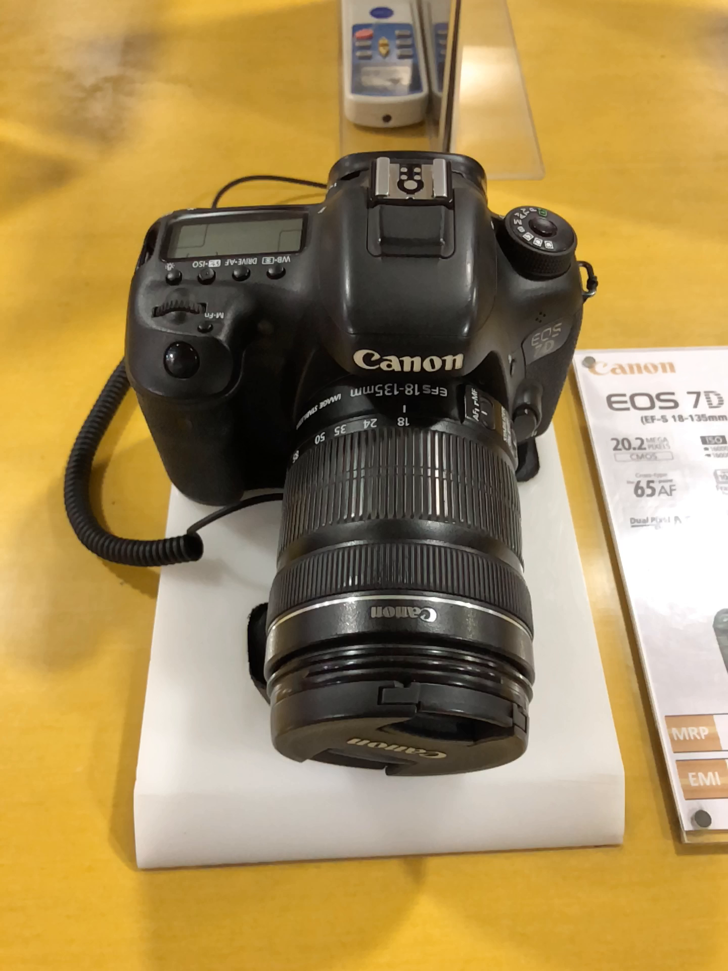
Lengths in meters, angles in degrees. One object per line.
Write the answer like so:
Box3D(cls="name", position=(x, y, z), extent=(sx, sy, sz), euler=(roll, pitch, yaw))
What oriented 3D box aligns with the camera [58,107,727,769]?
Box3D(cls="camera", position=(0.005, -0.015, 0.250), extent=(0.130, 0.109, 0.171), euler=(0, 57, -1))
